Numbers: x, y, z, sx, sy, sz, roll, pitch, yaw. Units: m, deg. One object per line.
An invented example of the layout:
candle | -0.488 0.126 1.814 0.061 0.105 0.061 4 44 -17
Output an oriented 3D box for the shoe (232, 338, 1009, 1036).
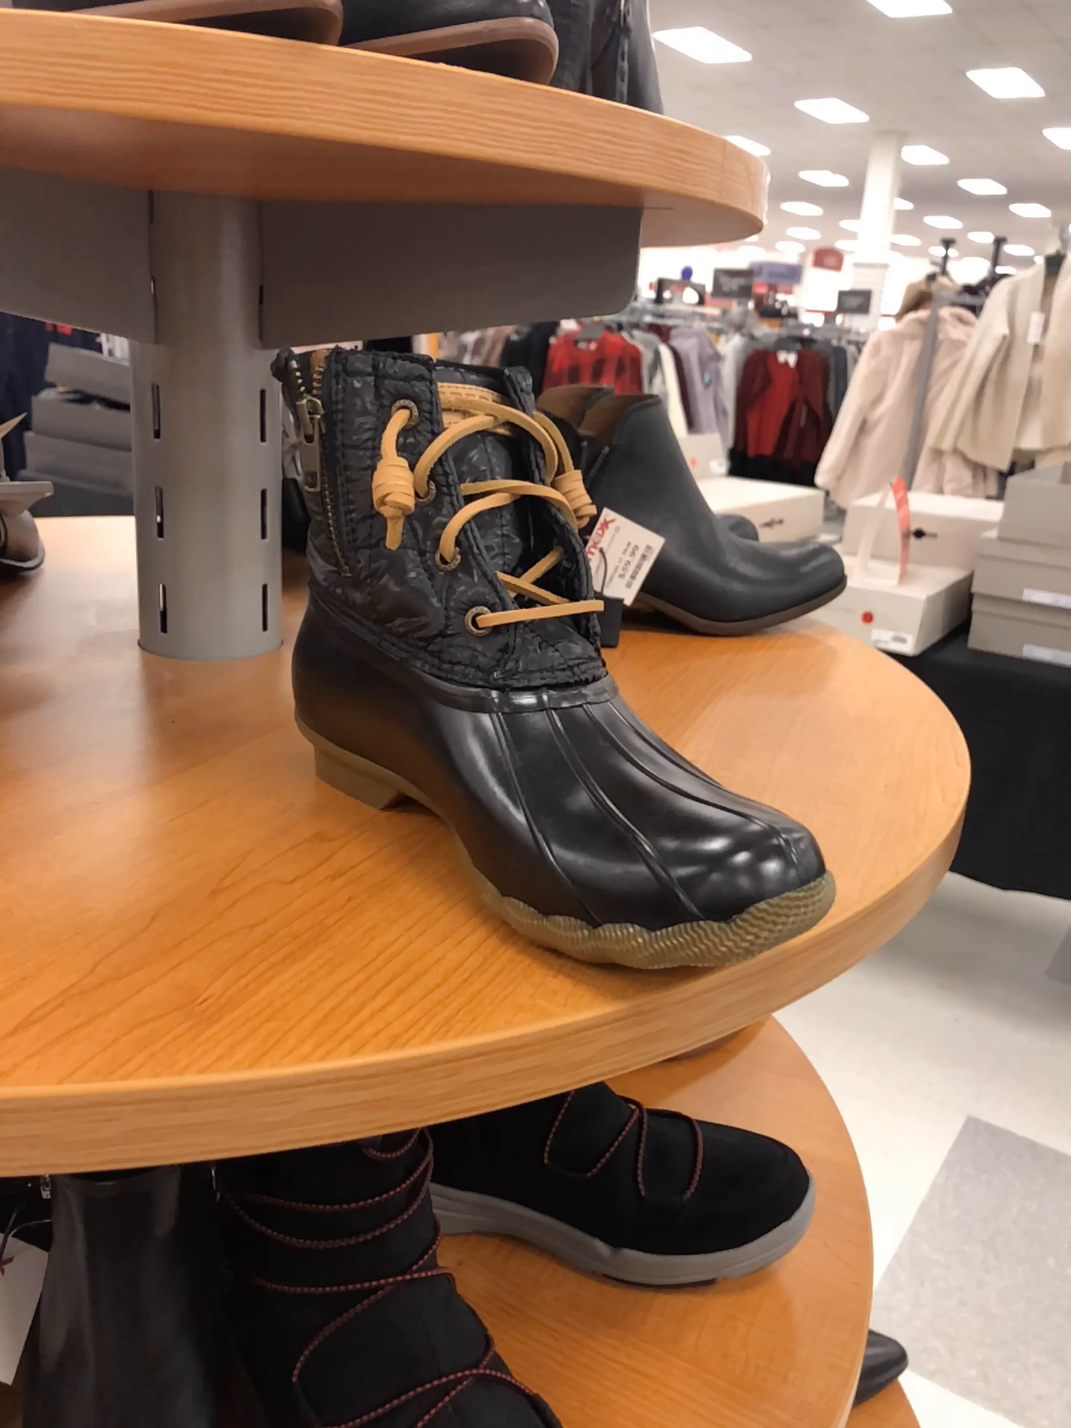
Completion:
shoe | 0.007 -0.036 0.388 0.113 0.157 0.231 -13 24 -37
